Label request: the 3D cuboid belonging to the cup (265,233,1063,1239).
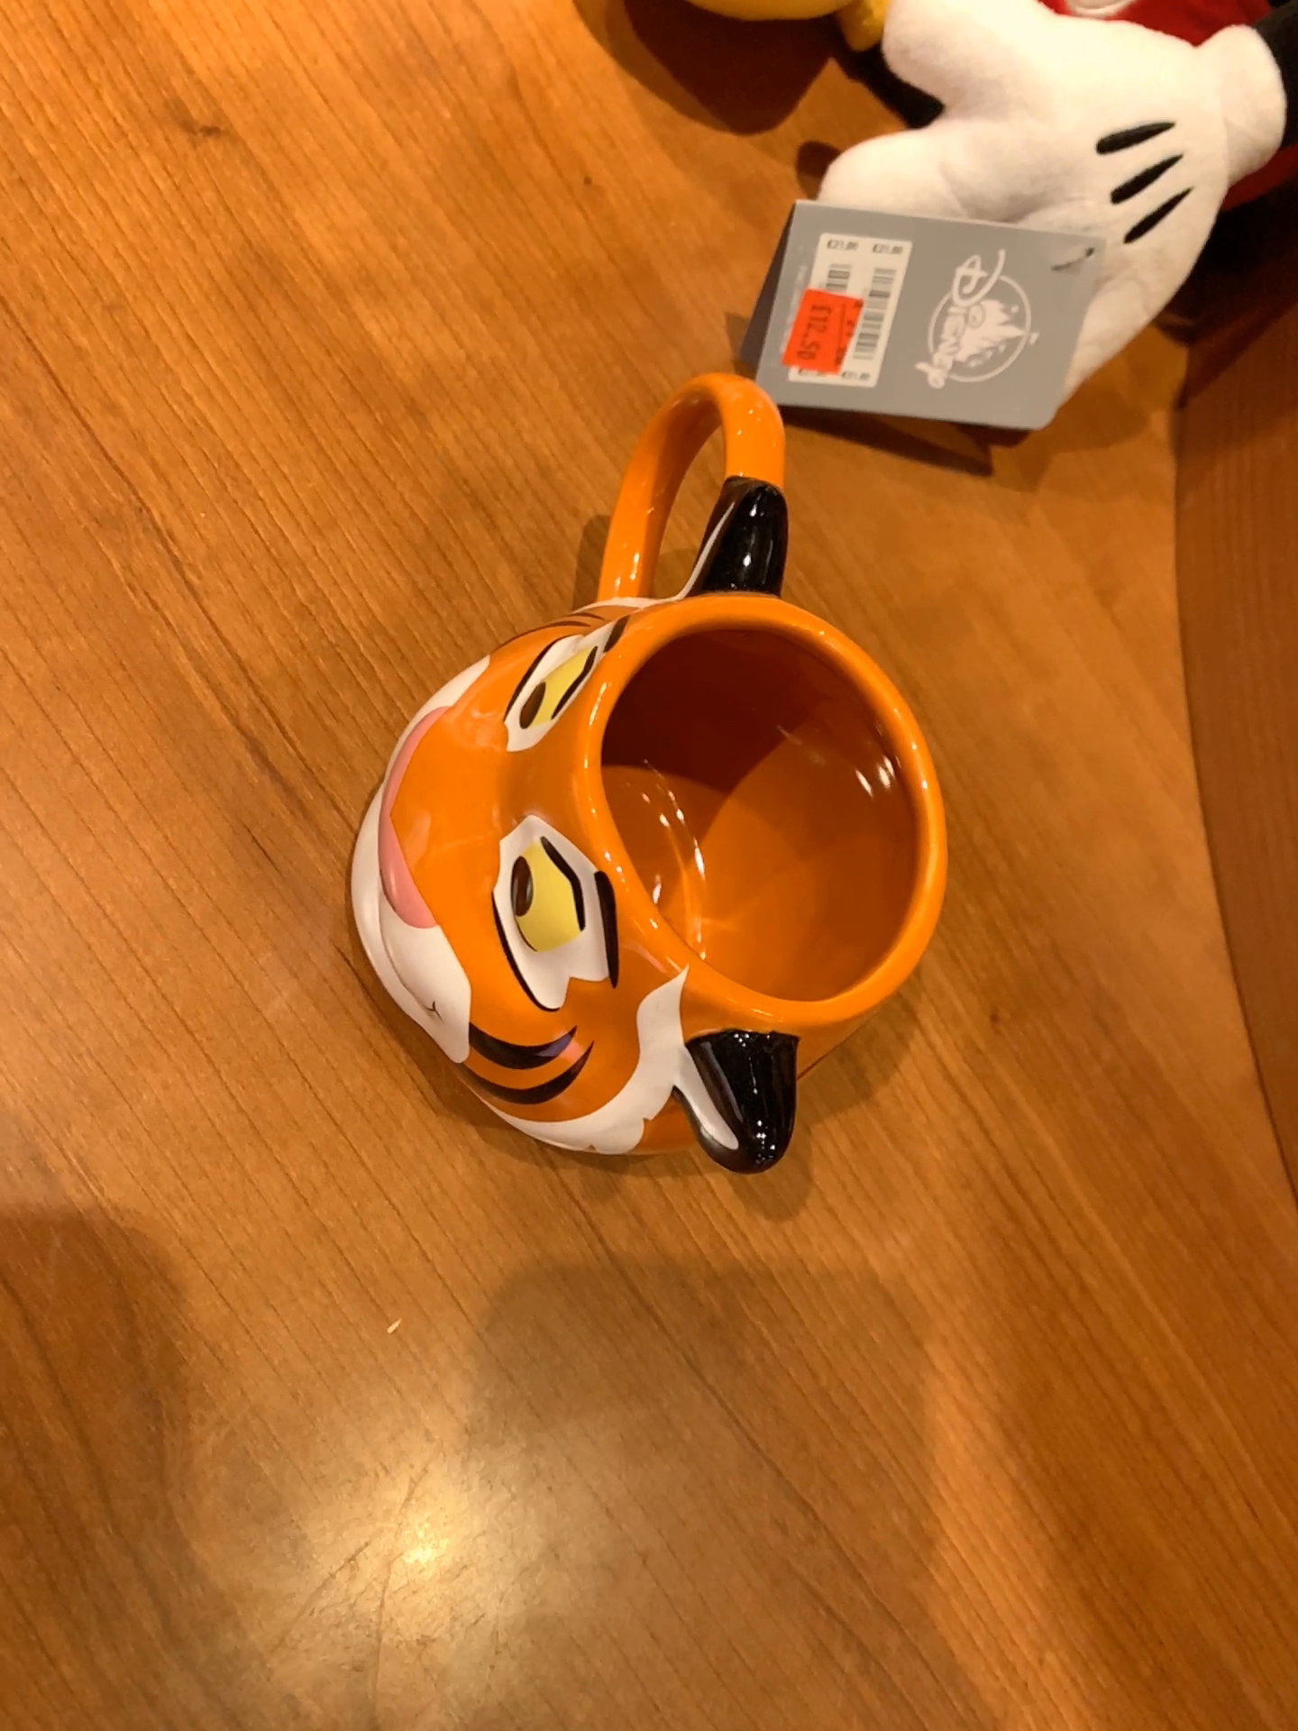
[{"bbox_3d":[-0.001,-0.009,0.250,0.106,0.087,0.150,9,71,-28],"label":"cup"}]
